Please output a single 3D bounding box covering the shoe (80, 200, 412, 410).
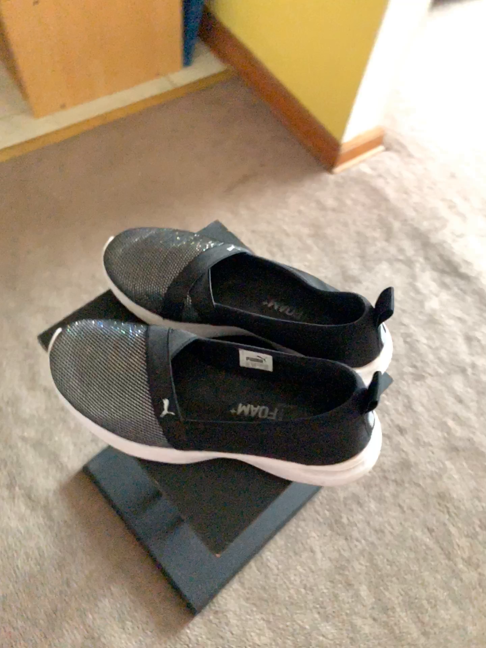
[{"bbox_3d":[0.003,-0.020,0.421,0.240,0.080,0.091,16,60,15],"label":"shoe"}]

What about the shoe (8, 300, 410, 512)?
[{"bbox_3d":[-0.020,0.057,0.372,0.260,0.080,0.091,7,60,13],"label":"shoe"}]
